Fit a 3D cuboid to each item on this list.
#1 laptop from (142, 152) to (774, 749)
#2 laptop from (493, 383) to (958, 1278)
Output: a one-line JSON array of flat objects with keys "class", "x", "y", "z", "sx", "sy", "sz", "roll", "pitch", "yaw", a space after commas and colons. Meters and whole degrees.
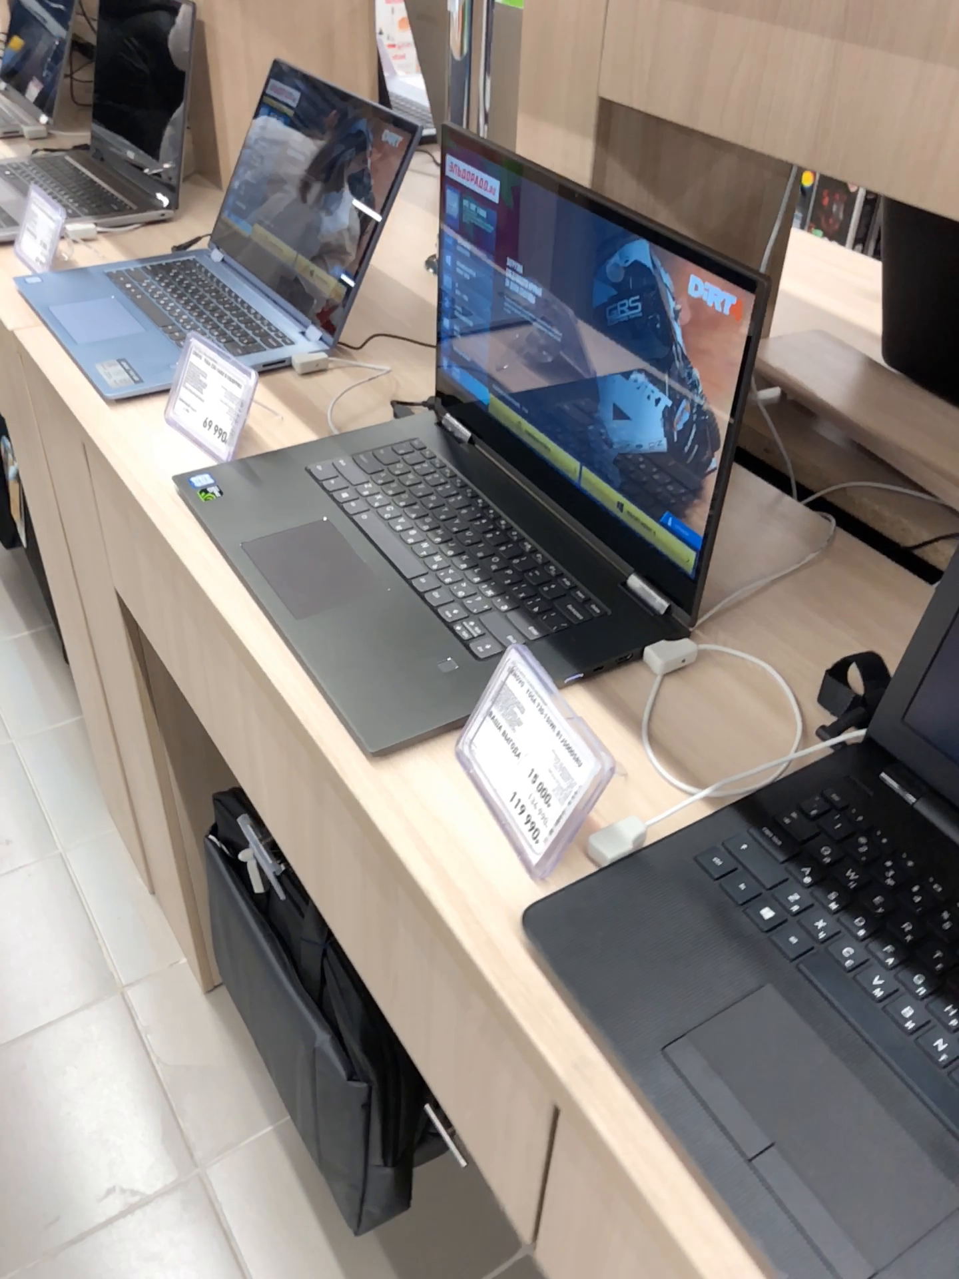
[{"class": "laptop", "x": -0.042, "y": -0.160, "z": 0.735, "sx": 0.252, "sy": 0.240, "sz": 0.360, "roll": -18, "pitch": 41, "yaw": -24}, {"class": "laptop", "x": 0.228, "y": 0.069, "z": 0.404, "sx": 0.308, "sy": 0.238, "sz": 0.306, "roll": -12, "pitch": 36, "yaw": -22}]
